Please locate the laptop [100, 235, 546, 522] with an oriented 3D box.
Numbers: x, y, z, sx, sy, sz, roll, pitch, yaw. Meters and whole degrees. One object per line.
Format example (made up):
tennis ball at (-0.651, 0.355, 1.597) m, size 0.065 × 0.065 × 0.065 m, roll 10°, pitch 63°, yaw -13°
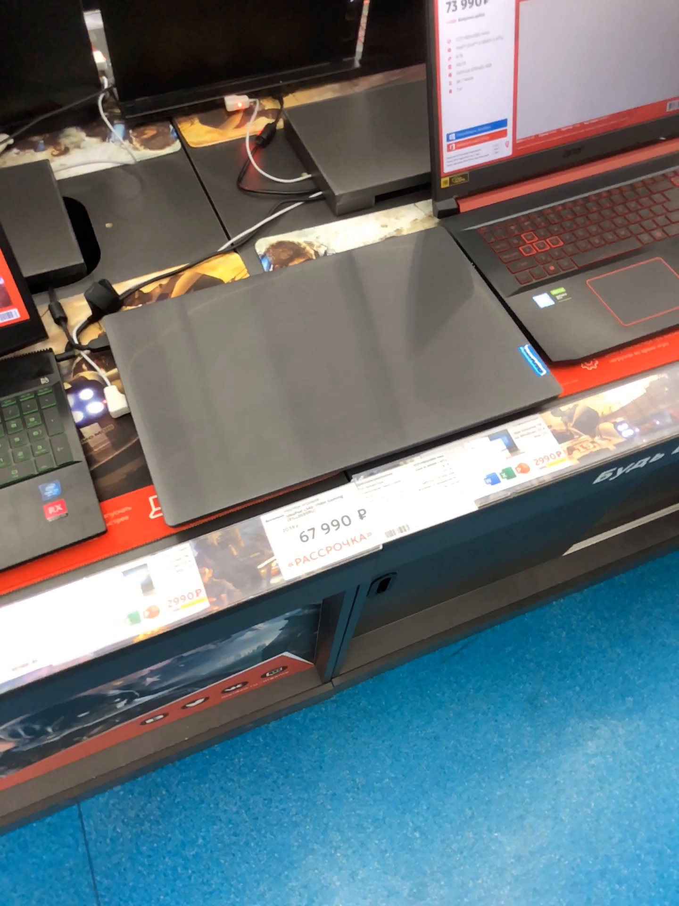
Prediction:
laptop at (-0.024, -0.100, 0.775) m, size 0.389 × 0.002 × 0.269 m, roll -19°, pitch 57°, yaw -14°
